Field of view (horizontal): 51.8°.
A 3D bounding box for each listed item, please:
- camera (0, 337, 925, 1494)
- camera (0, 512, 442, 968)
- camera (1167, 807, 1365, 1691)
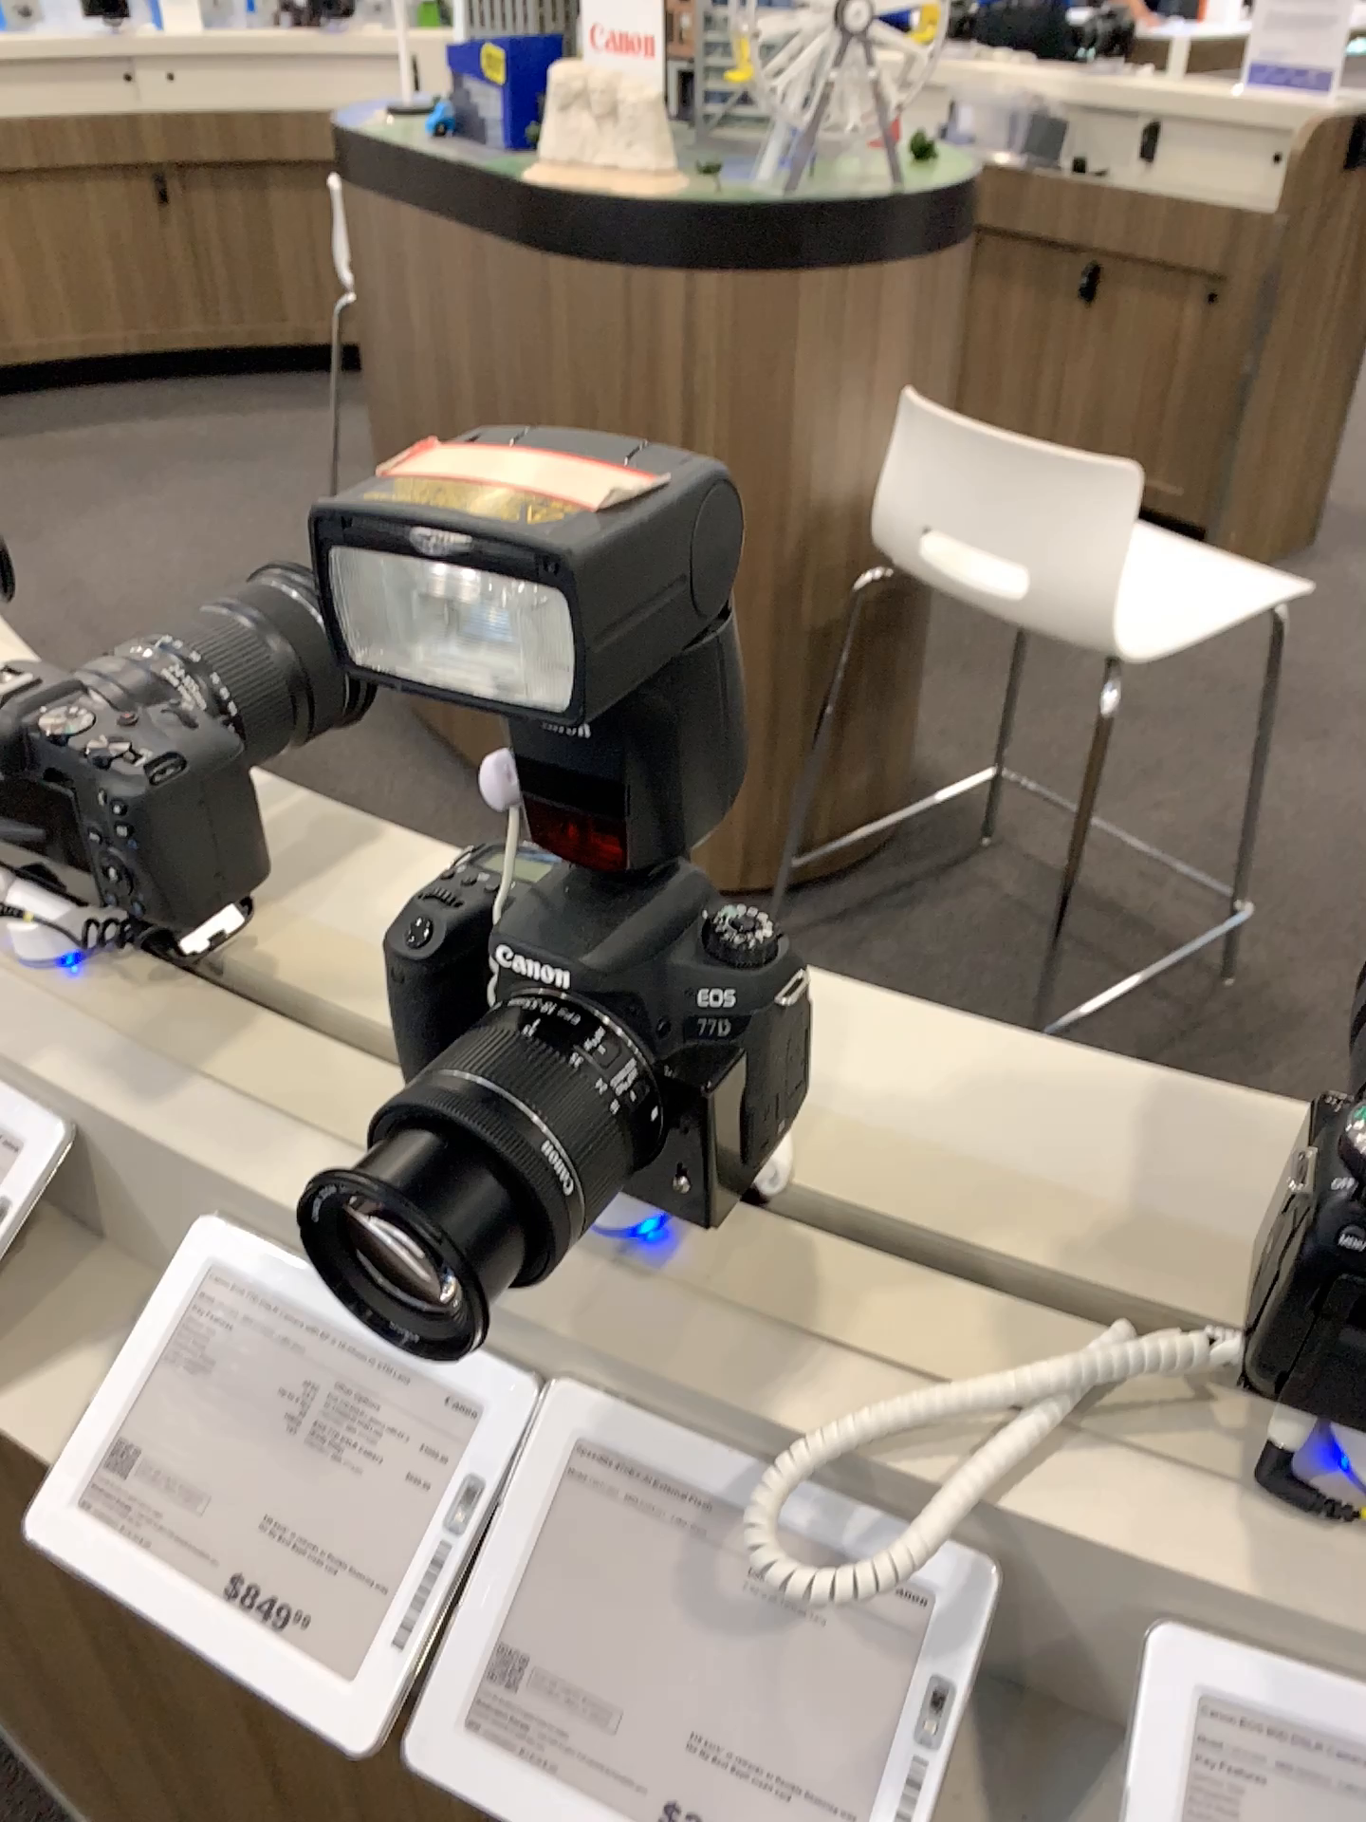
[{"bbox_3d":[-0.044,-0.007,0.389,0.140,0.232,0.176,19,40,24],"label":"camera"},{"bbox_3d":[-0.216,-0.083,0.608,0.140,0.103,0.166,19,41,24],"label":"camera"},{"bbox_3d":[0.227,0.073,0.374,0.140,0.103,0.166,16,39,20],"label":"camera"}]
